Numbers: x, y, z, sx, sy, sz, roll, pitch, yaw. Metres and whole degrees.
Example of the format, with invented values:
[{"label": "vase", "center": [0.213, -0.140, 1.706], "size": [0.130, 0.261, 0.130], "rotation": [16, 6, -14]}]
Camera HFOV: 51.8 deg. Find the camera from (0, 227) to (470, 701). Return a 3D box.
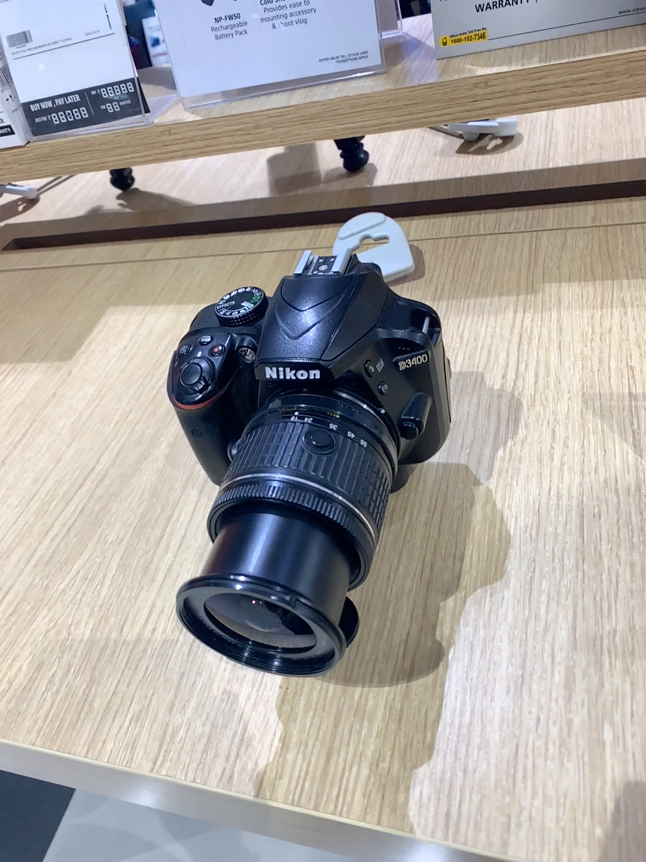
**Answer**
[{"label": "camera", "center": [-0.016, 0.006, 0.255], "size": [0.120, 0.094, 0.140], "rotation": [0, 45, 20]}]
